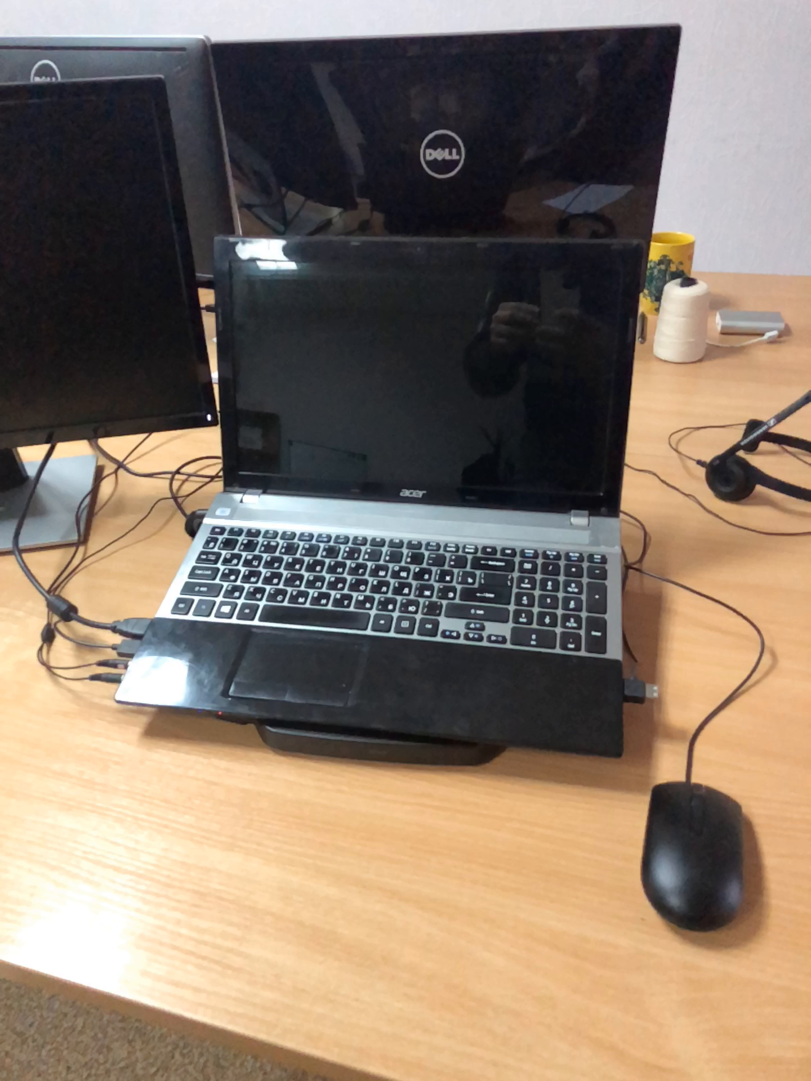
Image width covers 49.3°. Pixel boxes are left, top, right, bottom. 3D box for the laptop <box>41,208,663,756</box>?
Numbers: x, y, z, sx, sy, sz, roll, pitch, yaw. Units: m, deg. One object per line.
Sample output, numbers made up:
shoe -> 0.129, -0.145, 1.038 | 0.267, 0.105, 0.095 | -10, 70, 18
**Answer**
laptop -> -0.007, -0.077, 0.696 | 0.370, 0.215, 0.354 | 4, 40, 10
